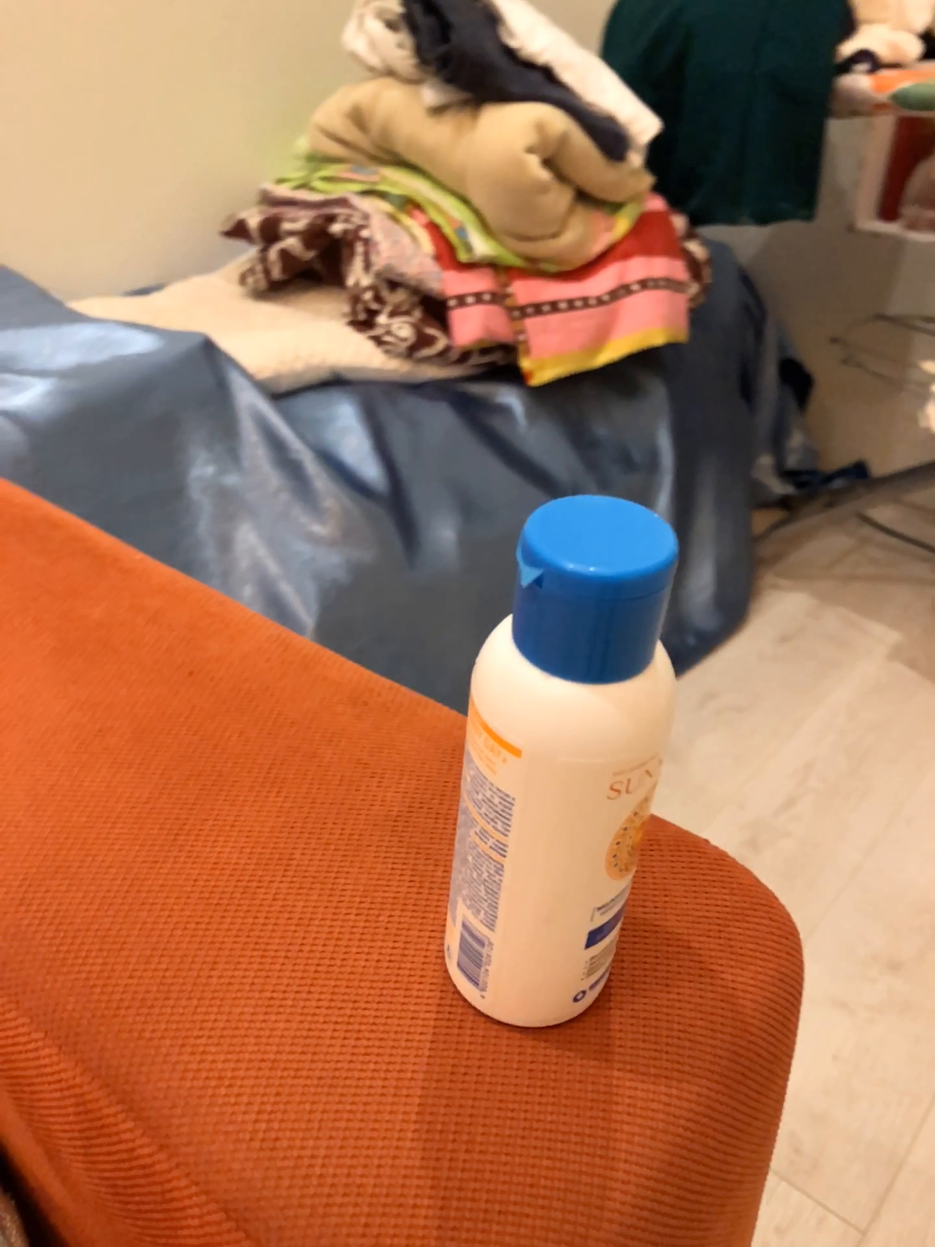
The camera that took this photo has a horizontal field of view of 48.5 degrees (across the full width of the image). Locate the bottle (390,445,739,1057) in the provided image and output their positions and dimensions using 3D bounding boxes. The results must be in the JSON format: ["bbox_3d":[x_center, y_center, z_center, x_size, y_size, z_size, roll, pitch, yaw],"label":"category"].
[{"bbox_3d":[0.017,0.028,0.212,0.043,0.111,0.047,6,34,-4],"label":"bottle"}]
